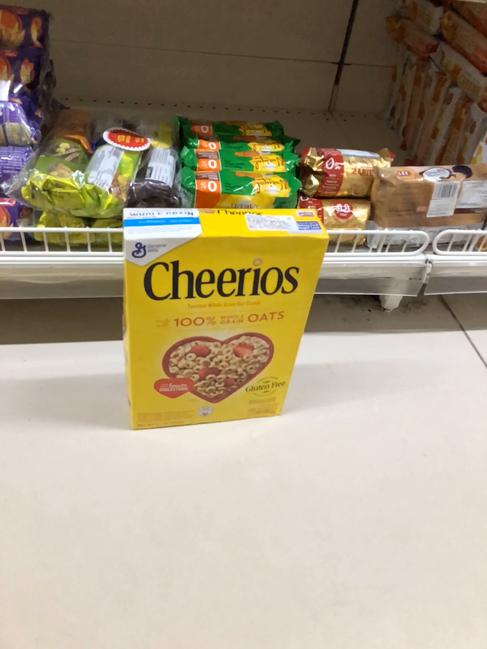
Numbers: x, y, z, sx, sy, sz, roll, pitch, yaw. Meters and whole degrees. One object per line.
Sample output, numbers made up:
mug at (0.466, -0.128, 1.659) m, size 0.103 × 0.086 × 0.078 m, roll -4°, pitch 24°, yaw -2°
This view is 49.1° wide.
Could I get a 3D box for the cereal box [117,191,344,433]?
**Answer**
cereal box at (-0.029, -0.001, 0.582) m, size 0.200 × 0.288 × 0.060 m, roll -3°, pitch 44°, yaw -13°
